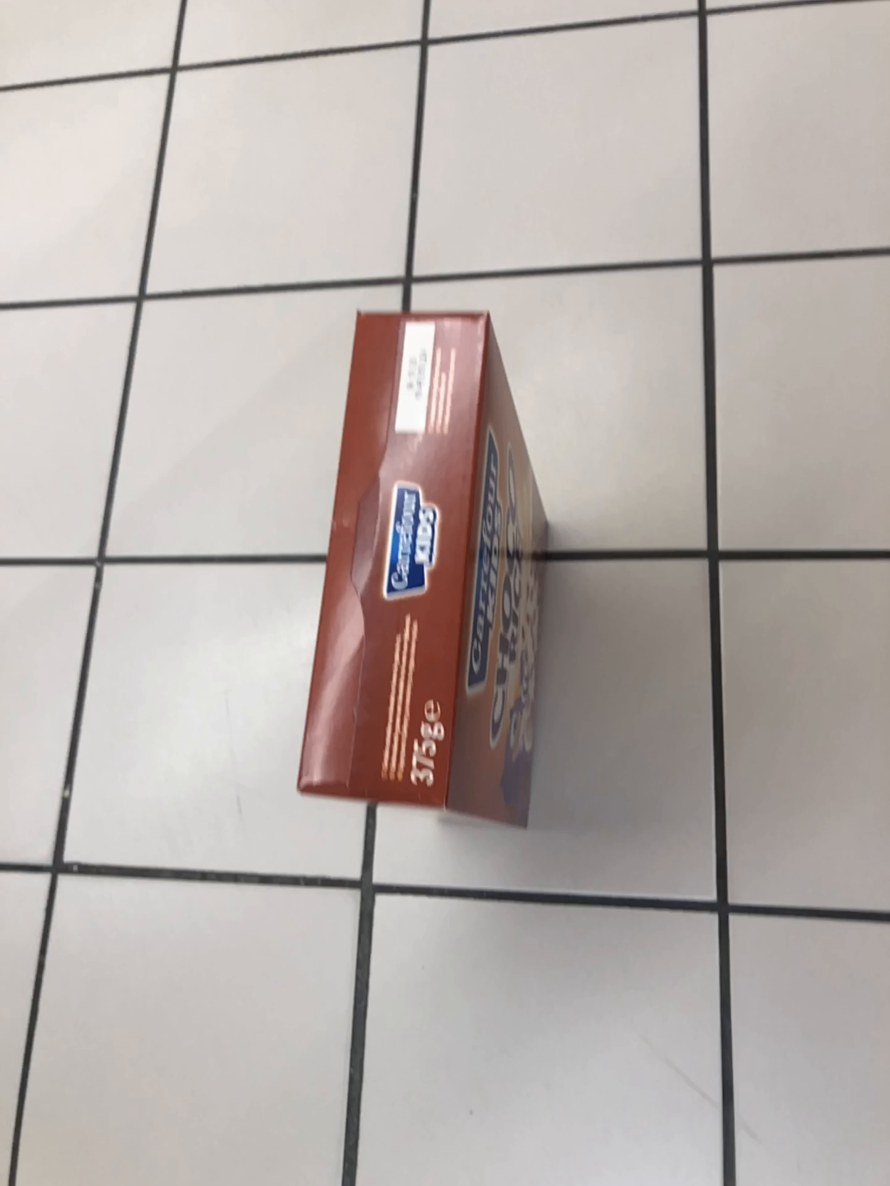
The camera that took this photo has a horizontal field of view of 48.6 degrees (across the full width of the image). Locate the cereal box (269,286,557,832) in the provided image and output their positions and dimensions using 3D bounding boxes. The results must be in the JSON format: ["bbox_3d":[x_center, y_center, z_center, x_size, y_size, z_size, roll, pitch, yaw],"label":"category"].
[{"bbox_3d":[0.004,0.007,0.478,0.070,0.240,0.200,2,75,12],"label":"cereal box"}]
